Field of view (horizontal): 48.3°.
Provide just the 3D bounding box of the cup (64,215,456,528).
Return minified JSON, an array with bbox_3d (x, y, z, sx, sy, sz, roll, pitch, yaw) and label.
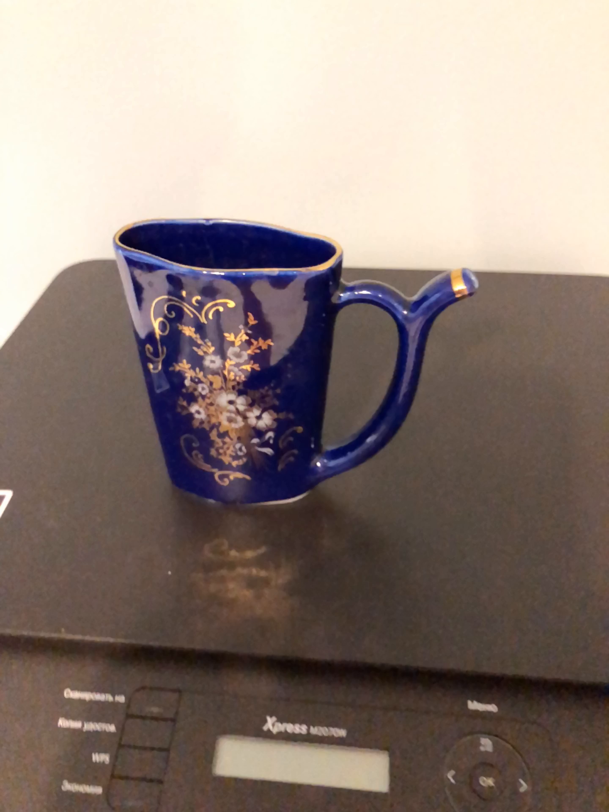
[{"bbox_3d":[-0.013,-0.012,0.276,0.130,0.109,0.050,5,40,6],"label":"cup"}]
